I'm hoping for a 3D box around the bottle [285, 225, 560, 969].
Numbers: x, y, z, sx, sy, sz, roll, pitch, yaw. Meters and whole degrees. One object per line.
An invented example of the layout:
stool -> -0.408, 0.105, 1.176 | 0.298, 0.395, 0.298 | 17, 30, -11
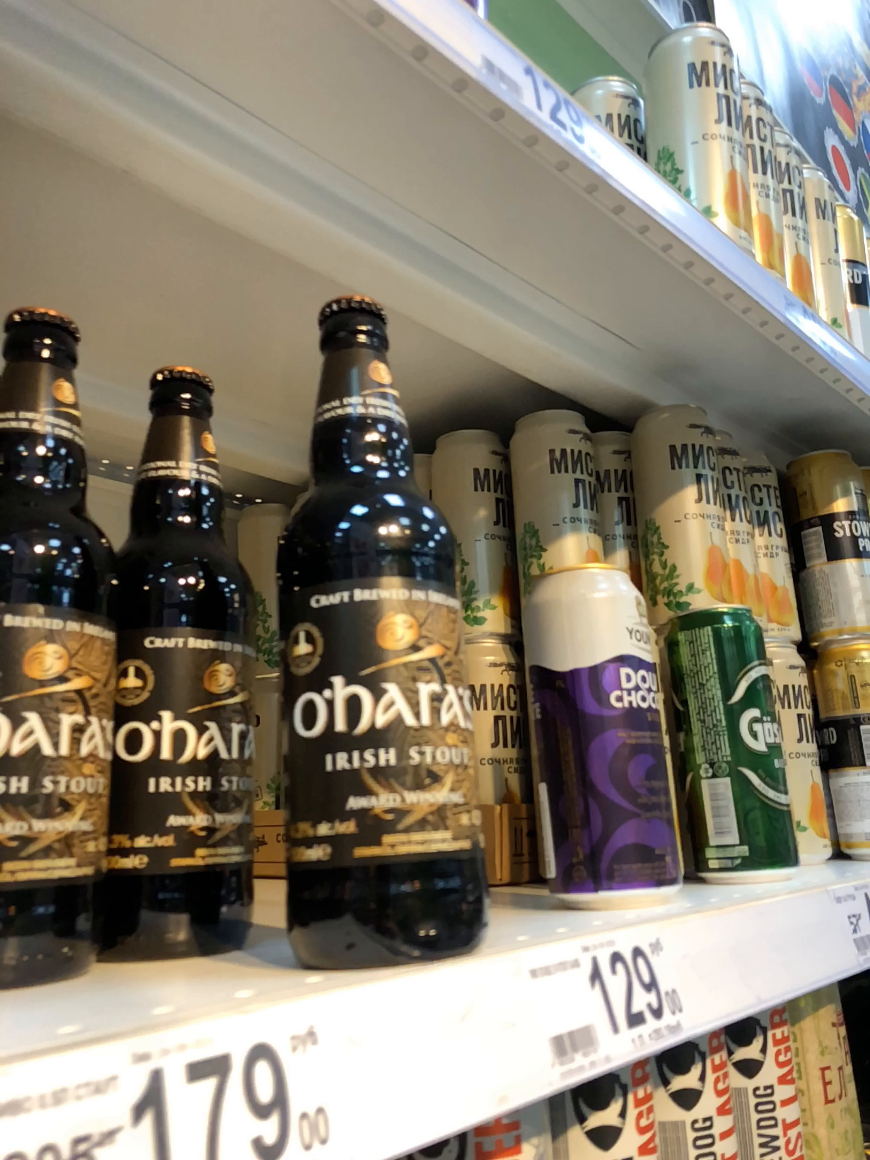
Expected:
bottle -> -0.010, 0.004, 0.345 | 0.070, 0.241, 0.070 | -1, -14, 0
